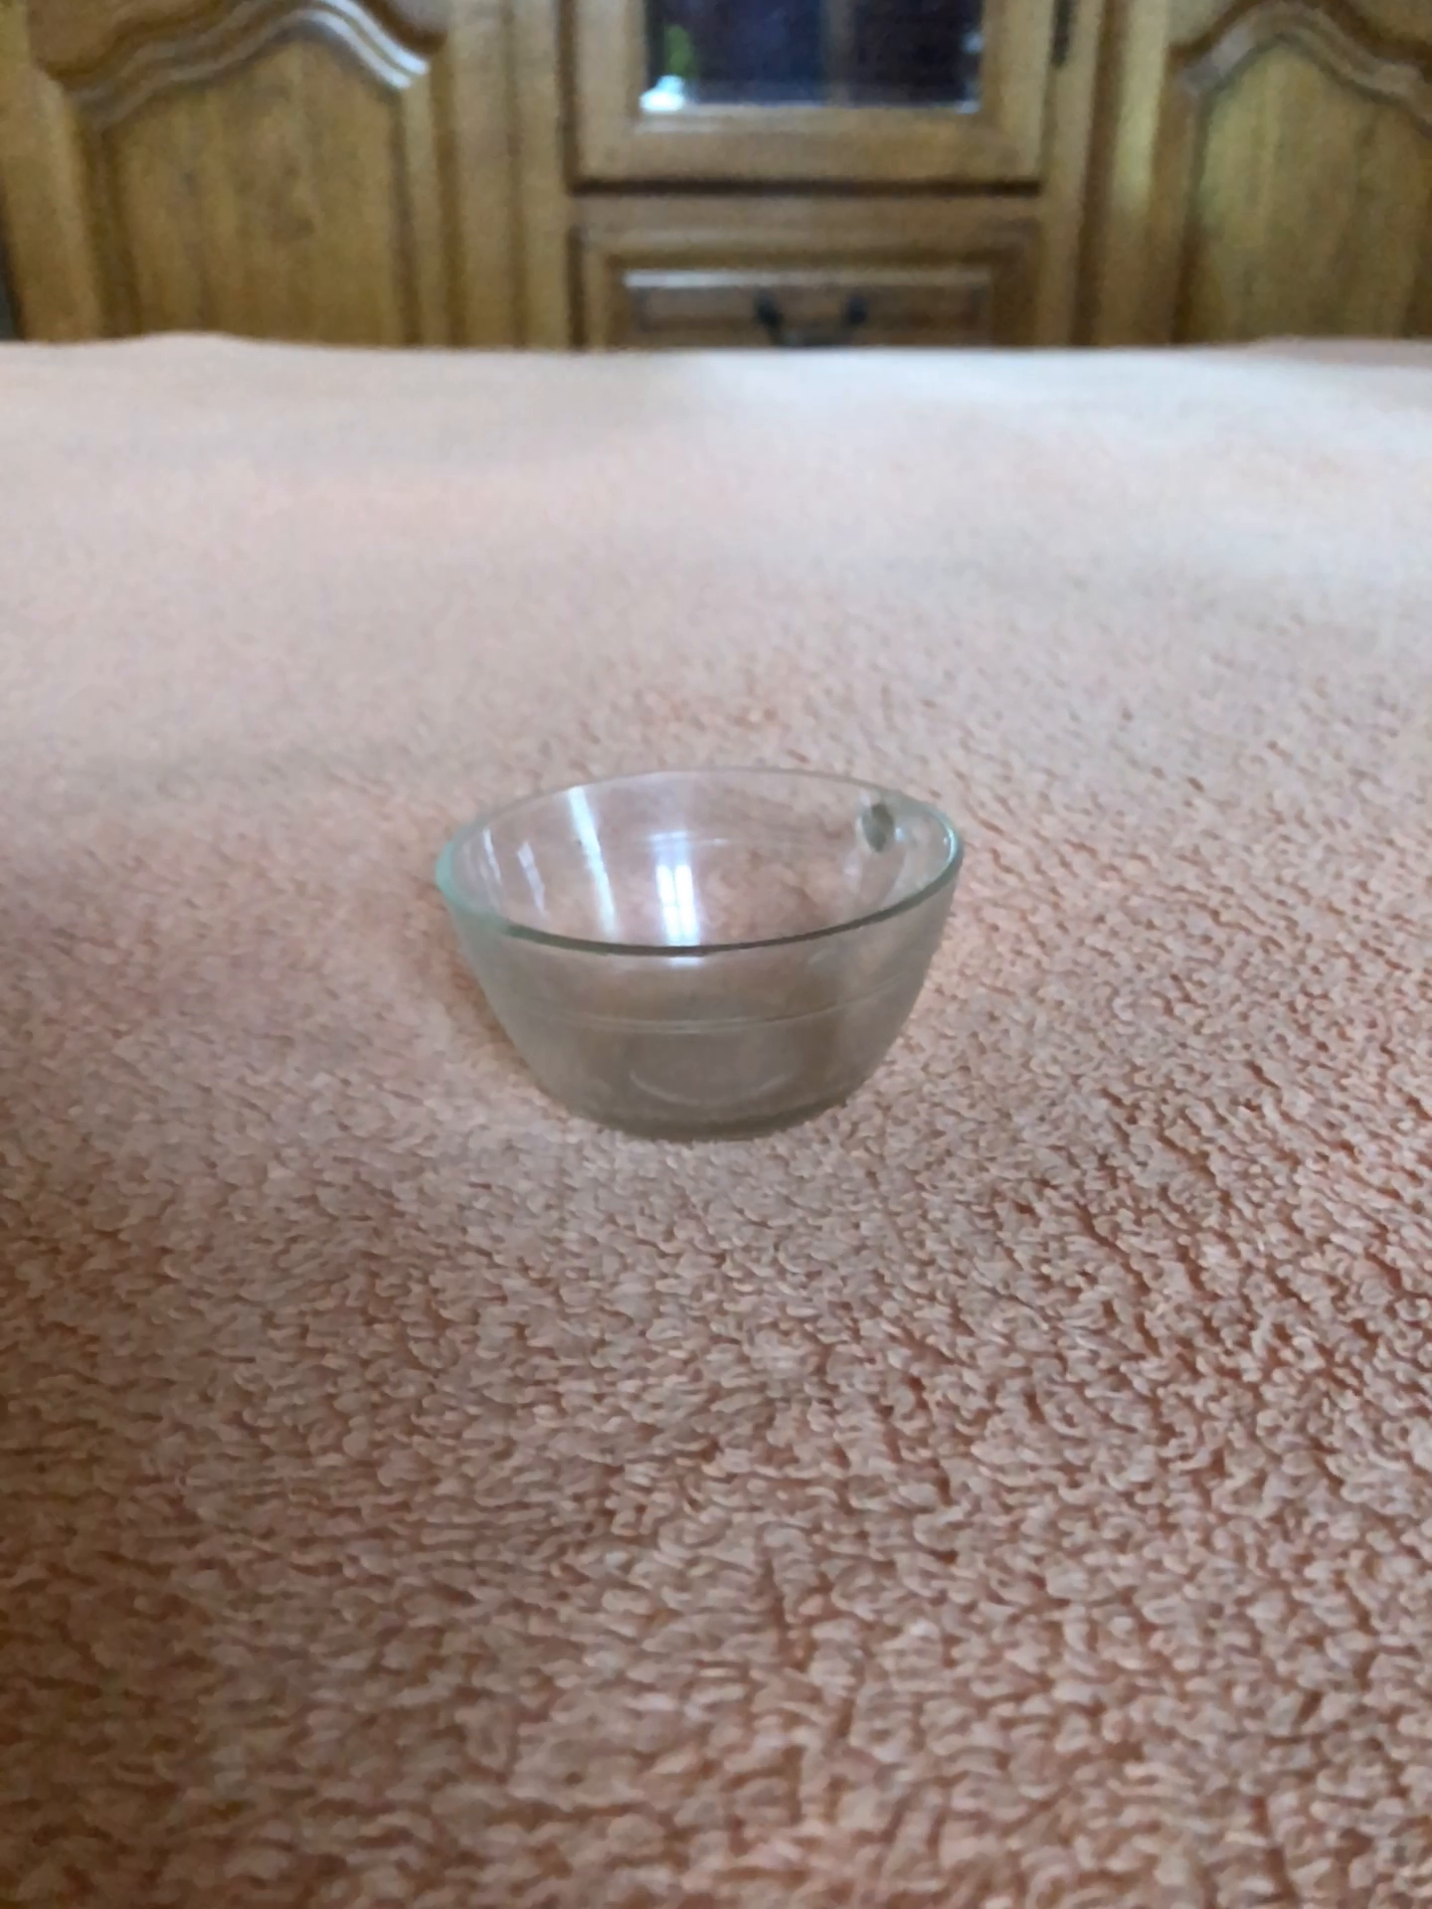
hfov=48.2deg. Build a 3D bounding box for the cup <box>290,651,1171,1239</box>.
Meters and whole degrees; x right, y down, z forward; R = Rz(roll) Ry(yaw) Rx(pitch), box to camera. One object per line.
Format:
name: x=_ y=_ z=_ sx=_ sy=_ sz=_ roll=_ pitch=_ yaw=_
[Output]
cup: x=0.004 y=-0.012 z=0.266 sx=0.111 sy=0.040 sz=0.090 roll=-24 pitch=34 yaw=-38
